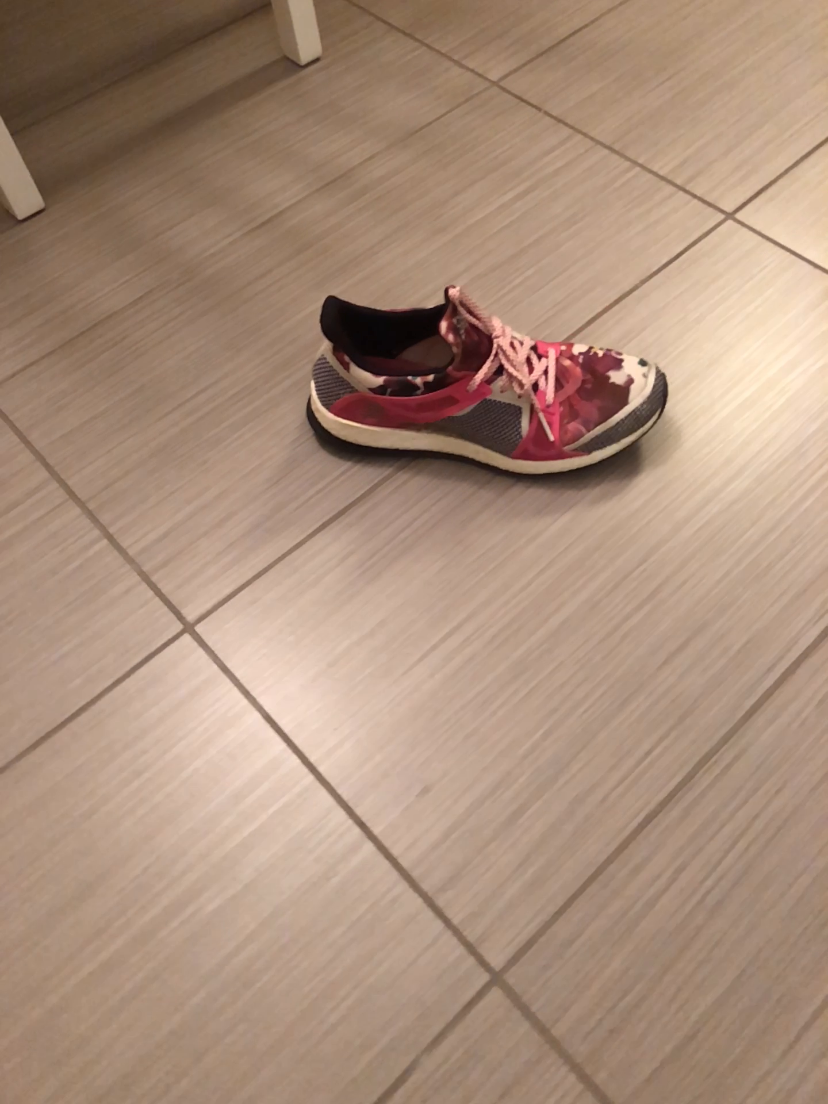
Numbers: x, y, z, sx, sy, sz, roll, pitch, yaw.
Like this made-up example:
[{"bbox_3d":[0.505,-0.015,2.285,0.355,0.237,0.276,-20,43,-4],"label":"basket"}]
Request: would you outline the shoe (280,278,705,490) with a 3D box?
[{"bbox_3d":[0.057,-0.124,0.668,0.280,0.090,0.110,4,59,7],"label":"shoe"}]
